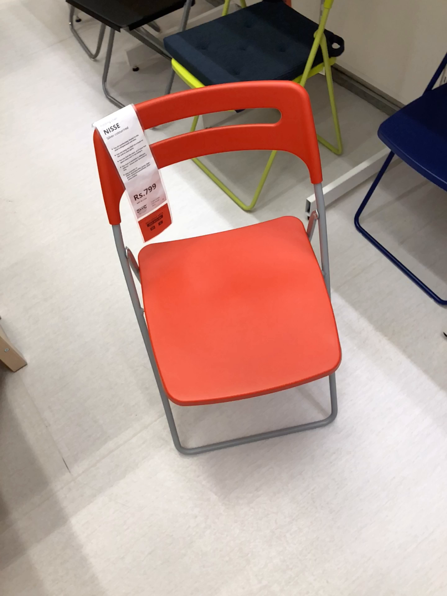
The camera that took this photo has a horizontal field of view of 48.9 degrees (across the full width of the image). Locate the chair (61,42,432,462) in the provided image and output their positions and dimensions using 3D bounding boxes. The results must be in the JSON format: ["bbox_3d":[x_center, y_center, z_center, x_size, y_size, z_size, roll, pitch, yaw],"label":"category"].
[{"bbox_3d":[0.020,-0.023,0.971,0.440,0.677,0.422,-12,57,-2],"label":"chair"}]
